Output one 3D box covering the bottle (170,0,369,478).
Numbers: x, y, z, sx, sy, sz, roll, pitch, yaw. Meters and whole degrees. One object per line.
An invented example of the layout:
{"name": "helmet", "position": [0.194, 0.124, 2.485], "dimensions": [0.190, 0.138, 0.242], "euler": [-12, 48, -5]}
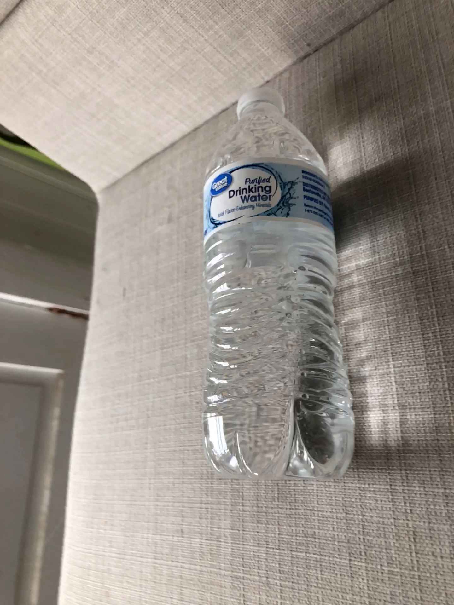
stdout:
{"name": "bottle", "position": [0.018, -0.035, 0.257], "dimensions": [0.070, 0.080, 0.231], "euler": [-5, 69, 10]}
